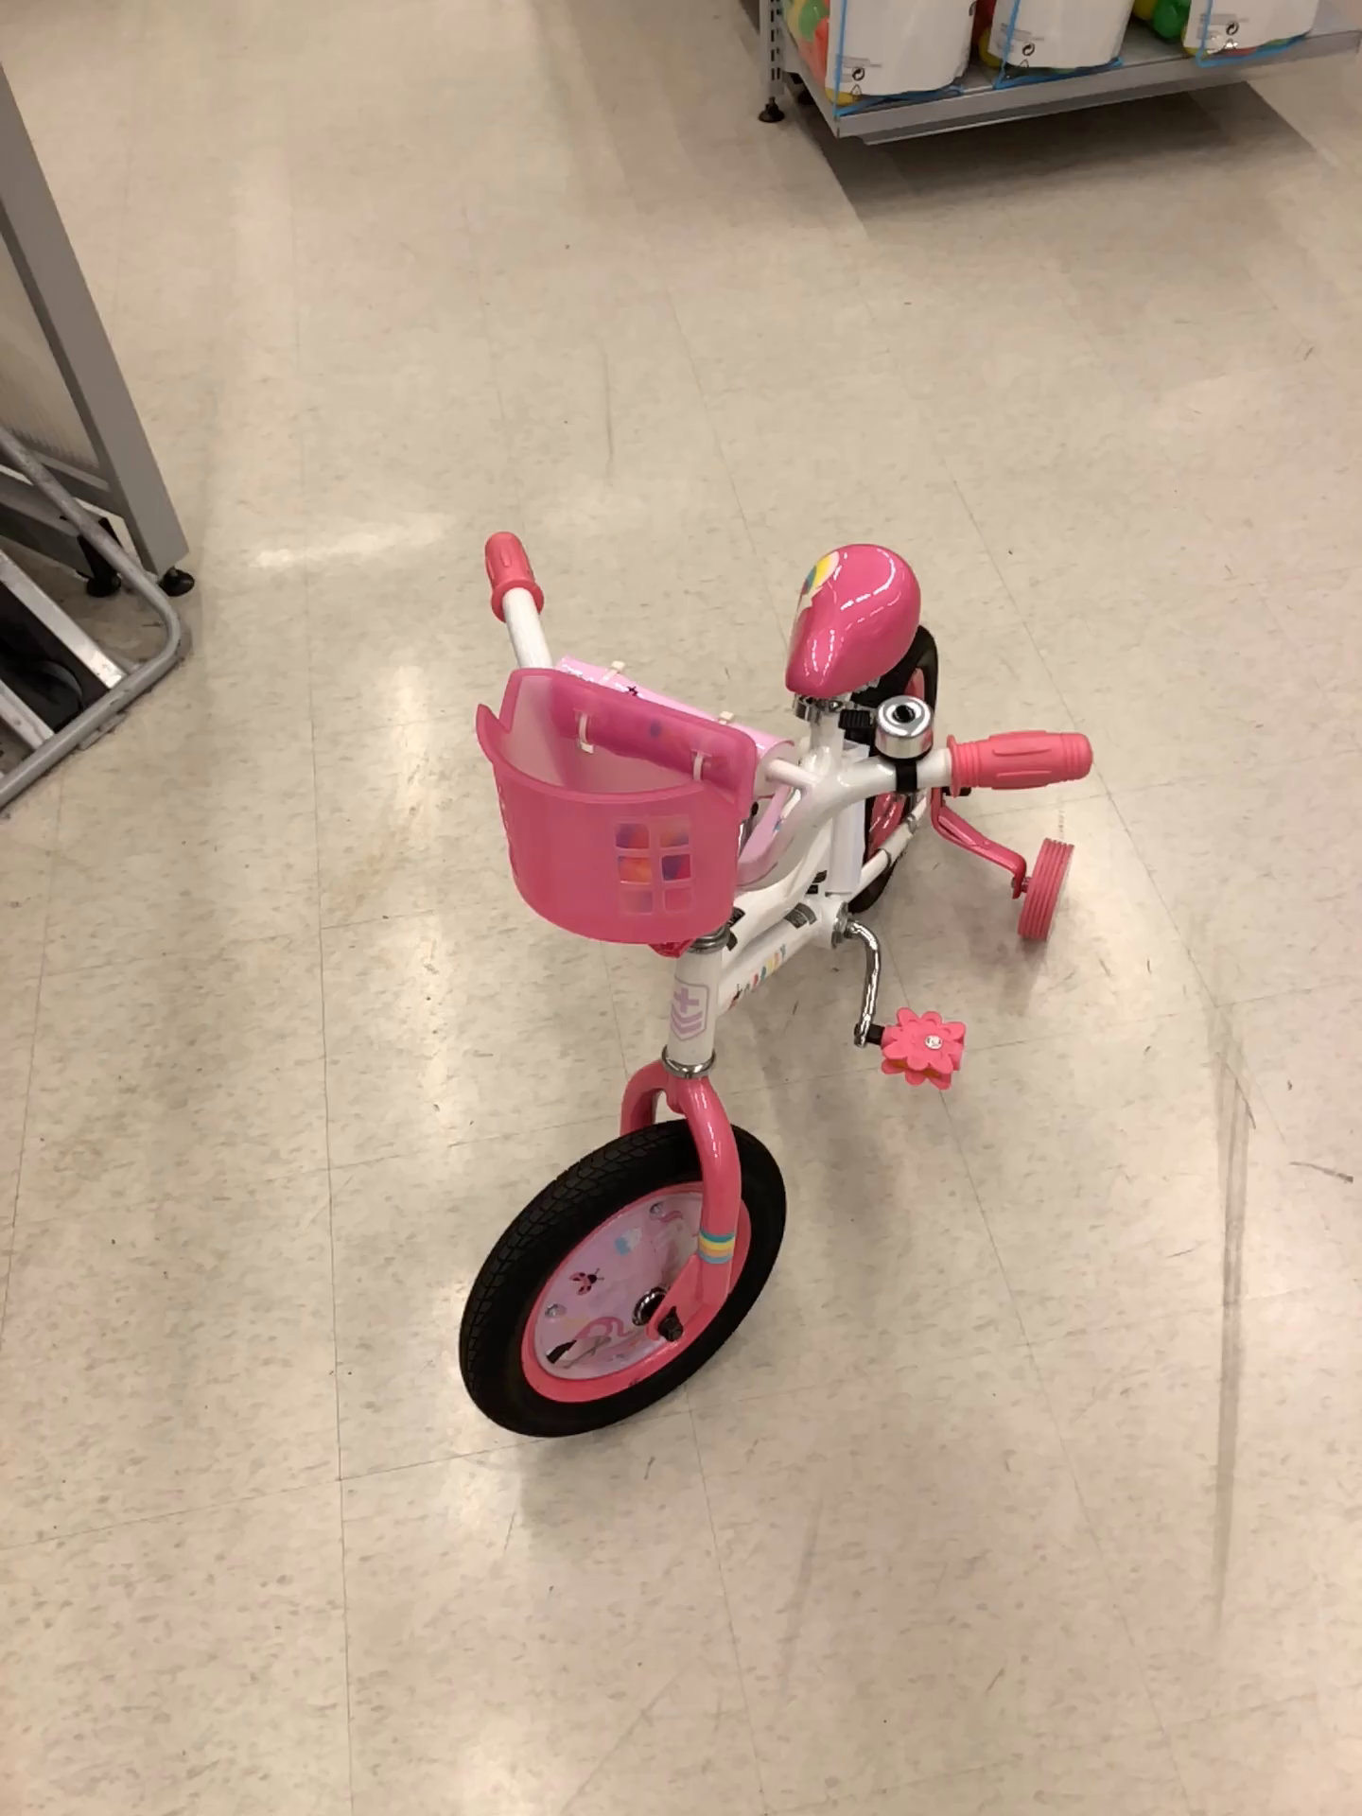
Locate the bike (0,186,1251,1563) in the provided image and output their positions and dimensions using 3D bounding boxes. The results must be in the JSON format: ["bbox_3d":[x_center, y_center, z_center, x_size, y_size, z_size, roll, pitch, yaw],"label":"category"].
[{"bbox_3d":[0.038,-0.043,1.259,0.457,0.632,0.881,21,58,19],"label":"bike"}]
